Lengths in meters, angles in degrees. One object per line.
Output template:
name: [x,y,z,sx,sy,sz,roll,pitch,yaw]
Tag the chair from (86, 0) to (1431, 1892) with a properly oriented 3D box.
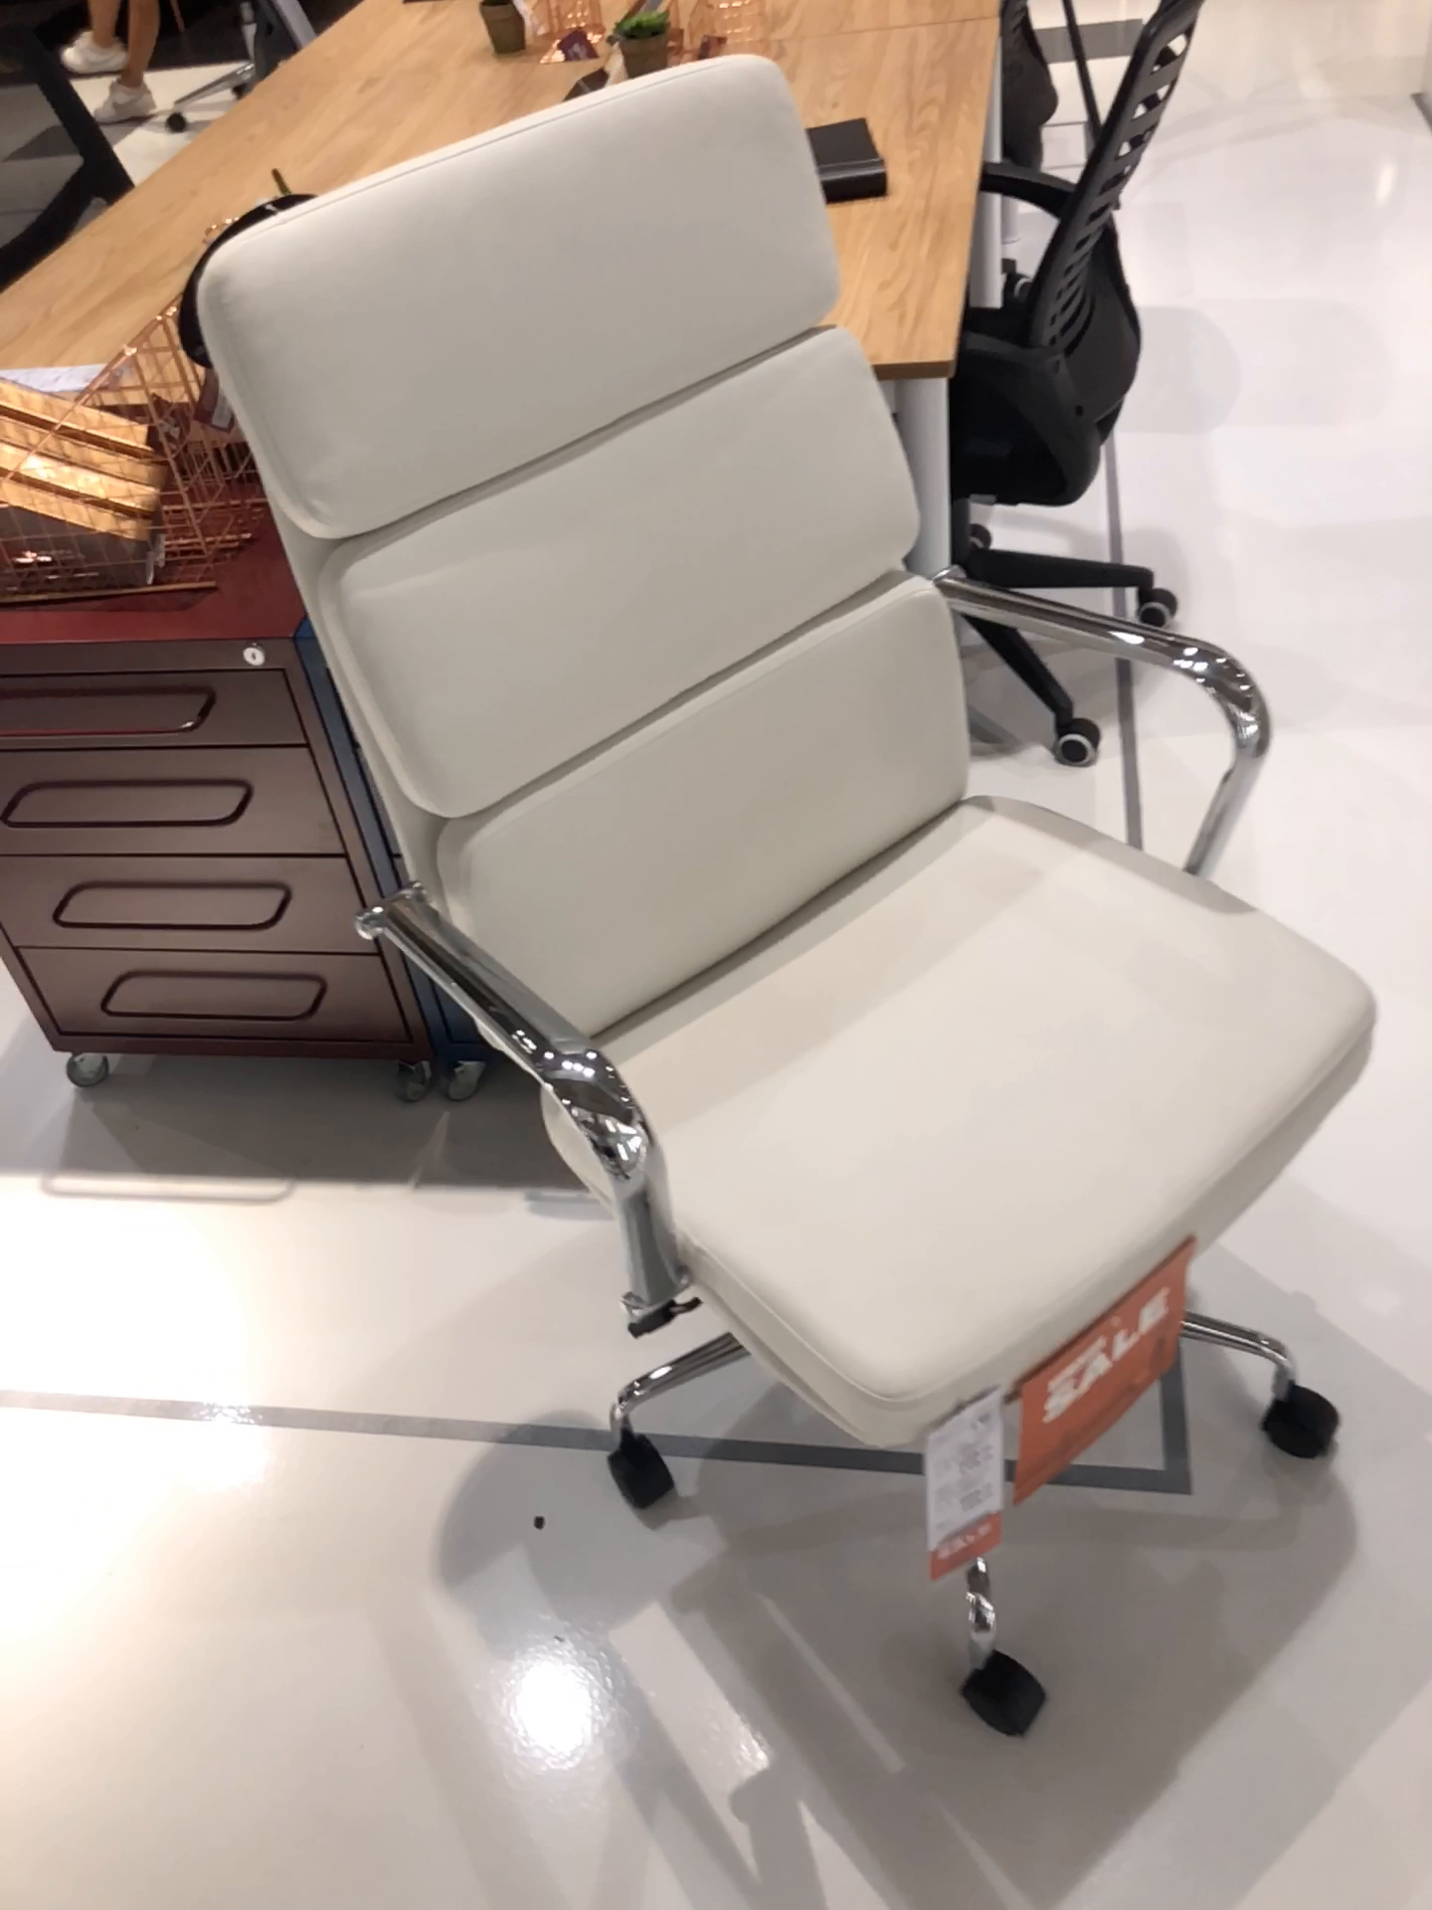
chair: [0.178,-0.022,1.126,0.662,1.012,0.653,-33,47,-24]
